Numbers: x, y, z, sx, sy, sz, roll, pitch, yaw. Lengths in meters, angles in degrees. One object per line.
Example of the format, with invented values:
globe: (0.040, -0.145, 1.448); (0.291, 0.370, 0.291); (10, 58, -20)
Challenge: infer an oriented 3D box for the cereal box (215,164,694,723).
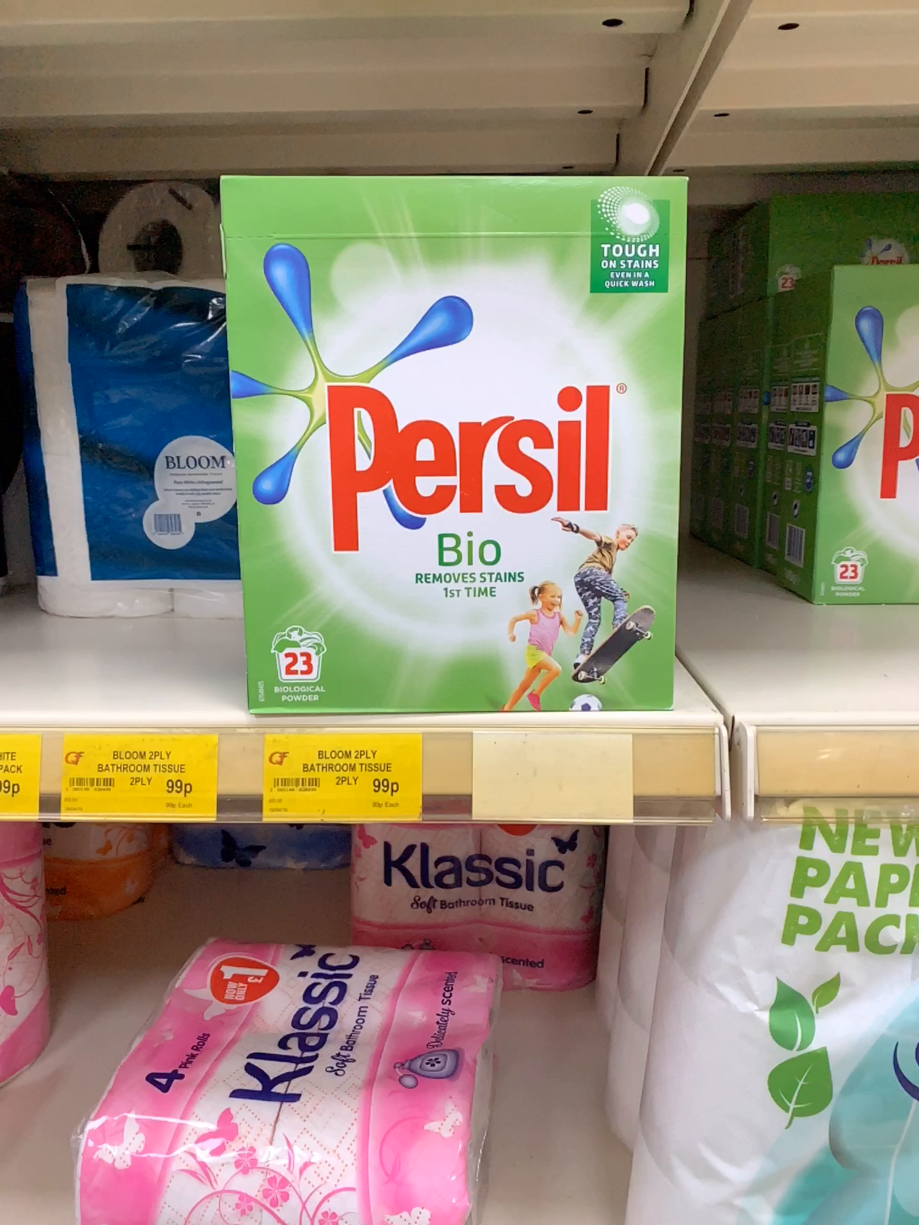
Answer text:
cereal box: (0.000, -0.077, 0.459); (0.200, 0.239, 0.090); (-1, 10, 0)
